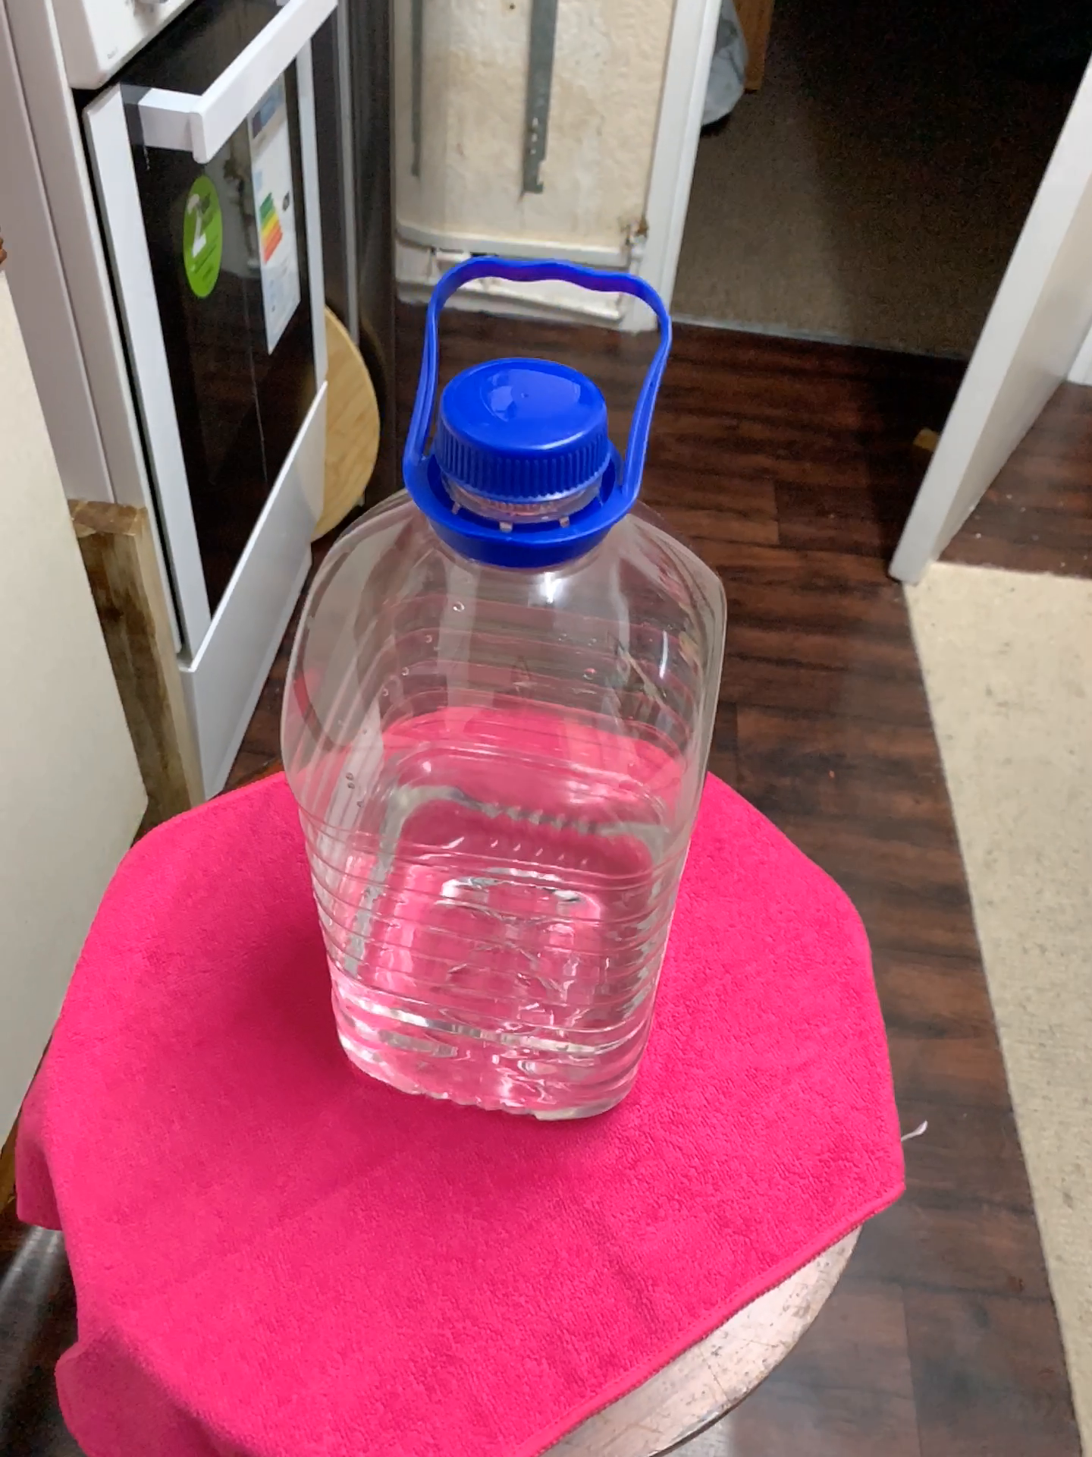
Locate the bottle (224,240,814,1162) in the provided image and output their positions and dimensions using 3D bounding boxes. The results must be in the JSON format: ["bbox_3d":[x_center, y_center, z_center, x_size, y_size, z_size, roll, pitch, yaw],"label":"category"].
[{"bbox_3d":[-0.009,0.016,0.435,0.140,0.327,0.151,3,47,-4],"label":"bottle"}]
